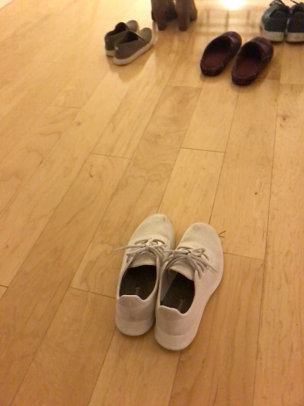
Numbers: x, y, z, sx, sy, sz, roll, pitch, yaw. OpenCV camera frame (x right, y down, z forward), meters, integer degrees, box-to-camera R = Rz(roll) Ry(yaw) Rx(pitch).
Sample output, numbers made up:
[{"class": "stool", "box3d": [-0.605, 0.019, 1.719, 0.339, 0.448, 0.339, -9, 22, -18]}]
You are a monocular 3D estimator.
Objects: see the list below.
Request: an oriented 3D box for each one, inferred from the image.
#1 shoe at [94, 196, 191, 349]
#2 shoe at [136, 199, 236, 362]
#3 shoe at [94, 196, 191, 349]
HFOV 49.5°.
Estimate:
[{"class": "shoe", "box3d": [-0.003, 0.125, 0.670, 0.130, 0.089, 0.282, 5, 50, 11]}, {"class": "shoe", "box3d": [0.076, 0.128, 0.625, 0.120, 0.070, 0.282, 10, 51, 15]}, {"class": "shoe", "box3d": [-0.003, 0.125, 0.670, 0.130, 0.089, 0.282, 5, 50, 11]}]
